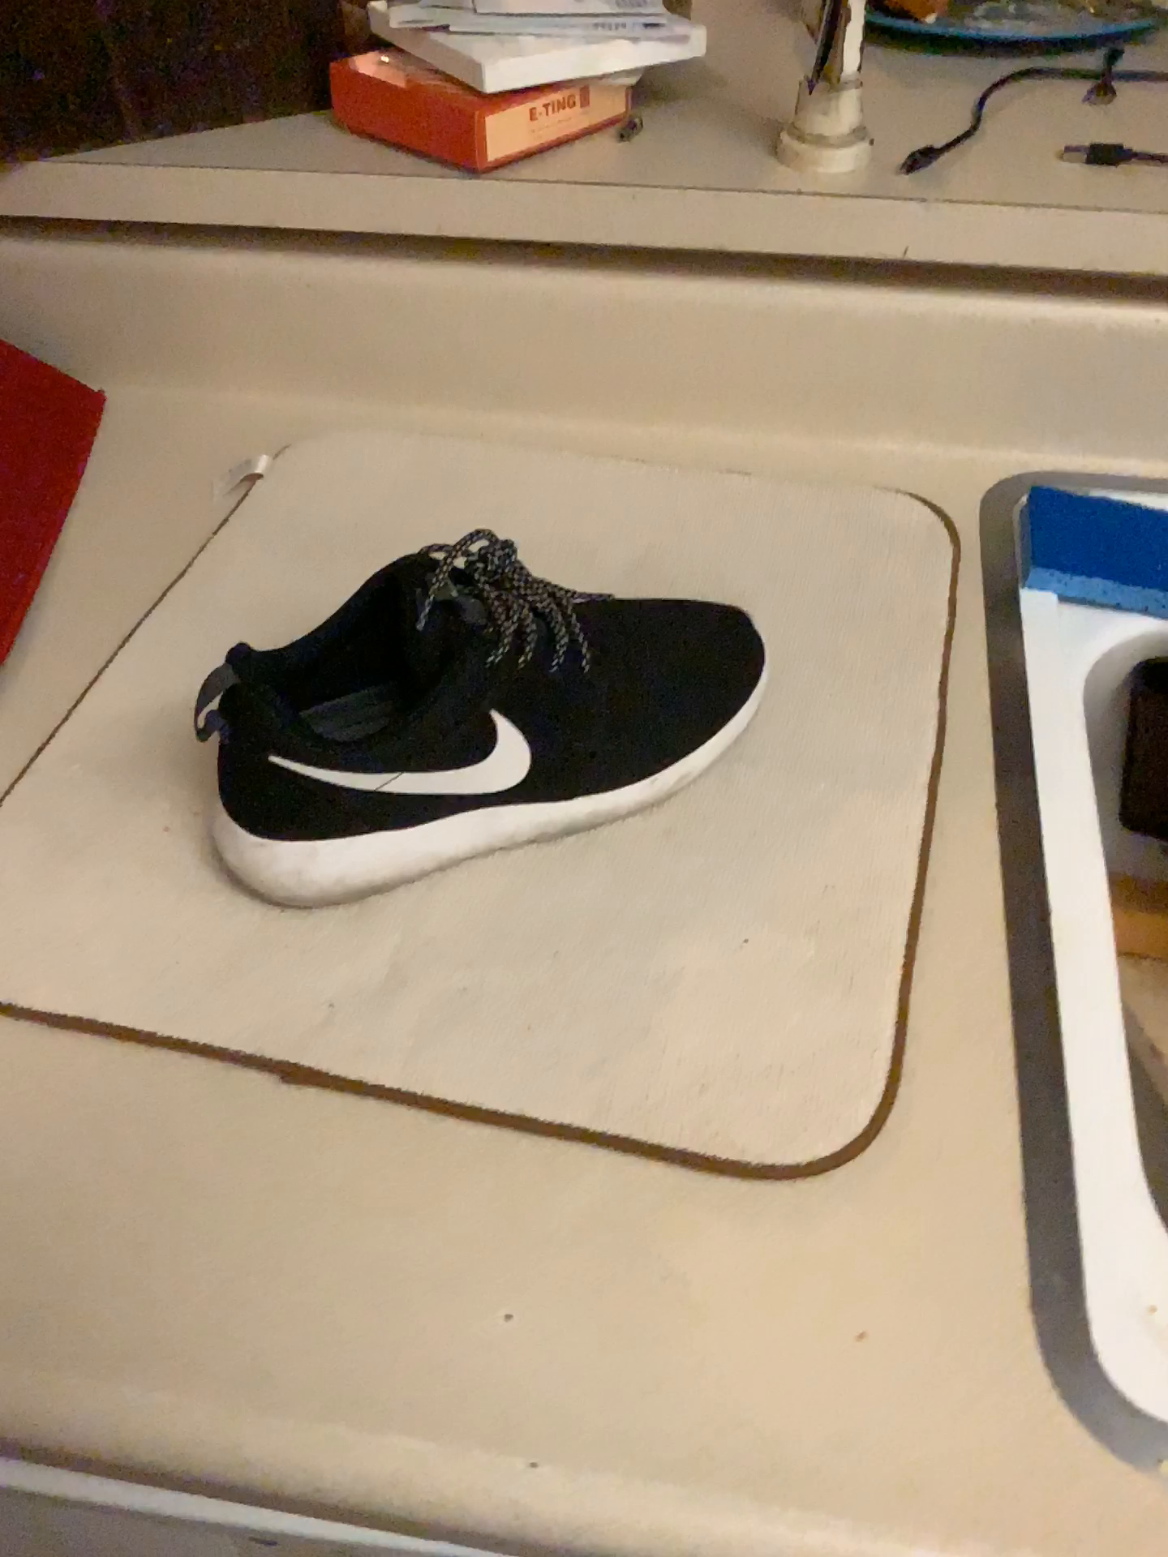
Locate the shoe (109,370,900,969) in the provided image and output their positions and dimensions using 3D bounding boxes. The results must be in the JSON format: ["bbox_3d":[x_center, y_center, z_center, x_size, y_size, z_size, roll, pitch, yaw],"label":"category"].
[{"bbox_3d":[-0.030,-0.055,0.549,0.280,0.120,0.130,-21,49,-17],"label":"shoe"}]
